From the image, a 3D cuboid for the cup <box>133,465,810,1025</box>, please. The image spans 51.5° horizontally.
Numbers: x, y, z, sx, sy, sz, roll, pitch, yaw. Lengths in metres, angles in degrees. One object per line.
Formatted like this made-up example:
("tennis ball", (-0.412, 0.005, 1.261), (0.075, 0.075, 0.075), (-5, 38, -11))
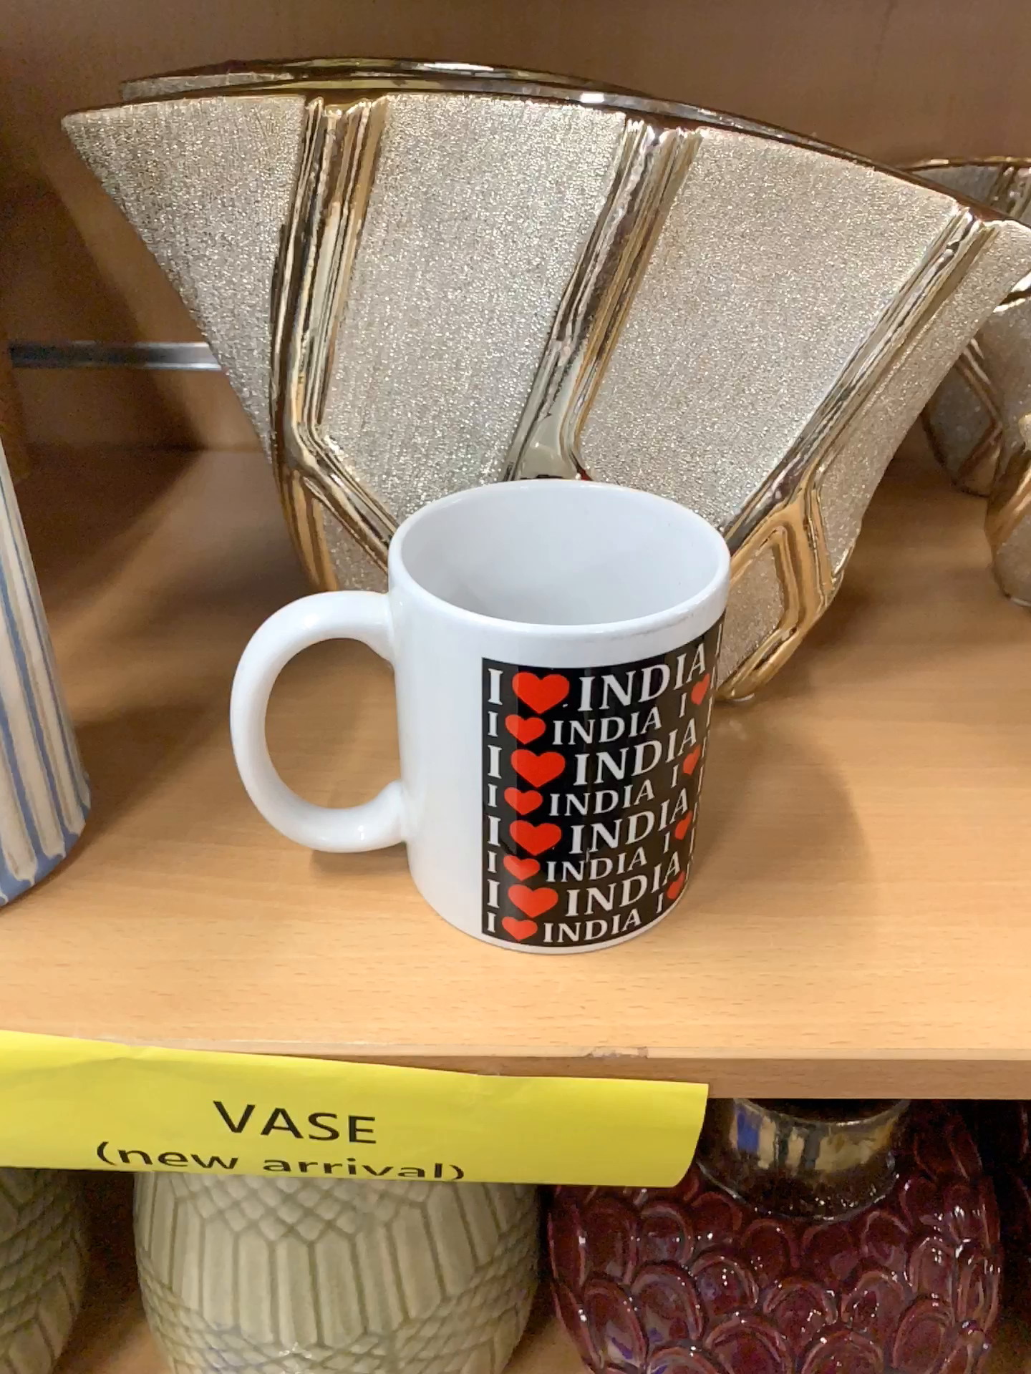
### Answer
("cup", (-0.014, 0.007, 0.264), (0.130, 0.090, 0.090), (-6, 31, -10))
